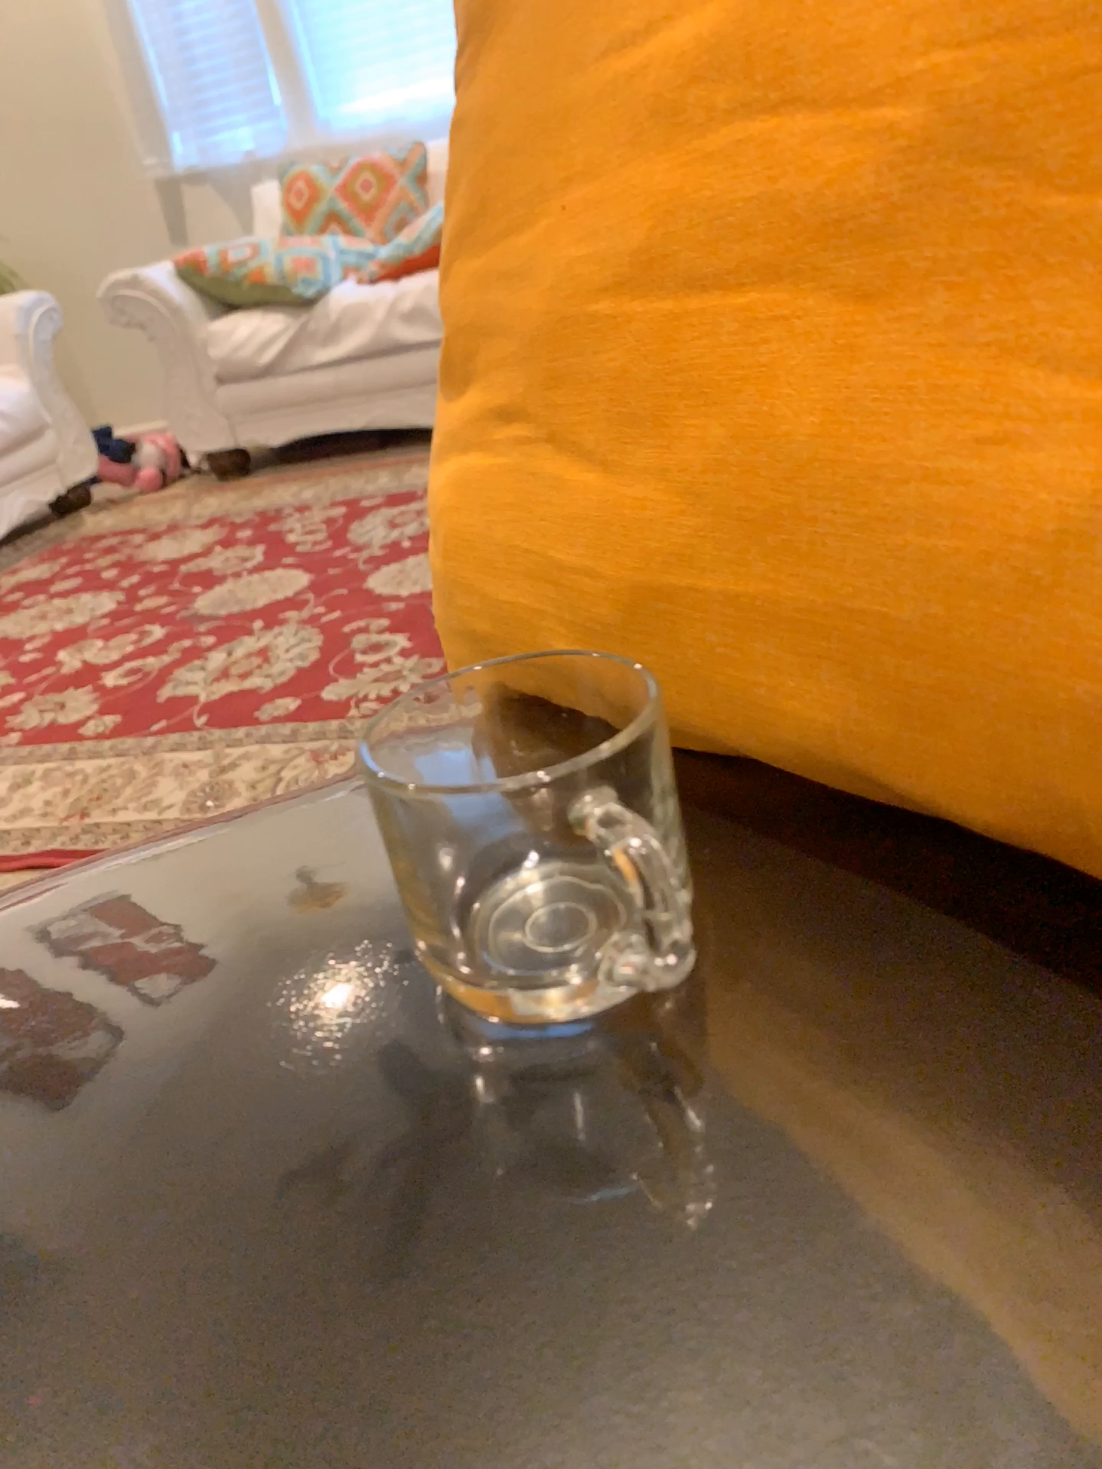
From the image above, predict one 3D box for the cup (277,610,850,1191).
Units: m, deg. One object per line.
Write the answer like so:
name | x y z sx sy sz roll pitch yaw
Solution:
cup | -0.002 0.024 0.237 0.070 0.060 0.101 -23 27 -21
